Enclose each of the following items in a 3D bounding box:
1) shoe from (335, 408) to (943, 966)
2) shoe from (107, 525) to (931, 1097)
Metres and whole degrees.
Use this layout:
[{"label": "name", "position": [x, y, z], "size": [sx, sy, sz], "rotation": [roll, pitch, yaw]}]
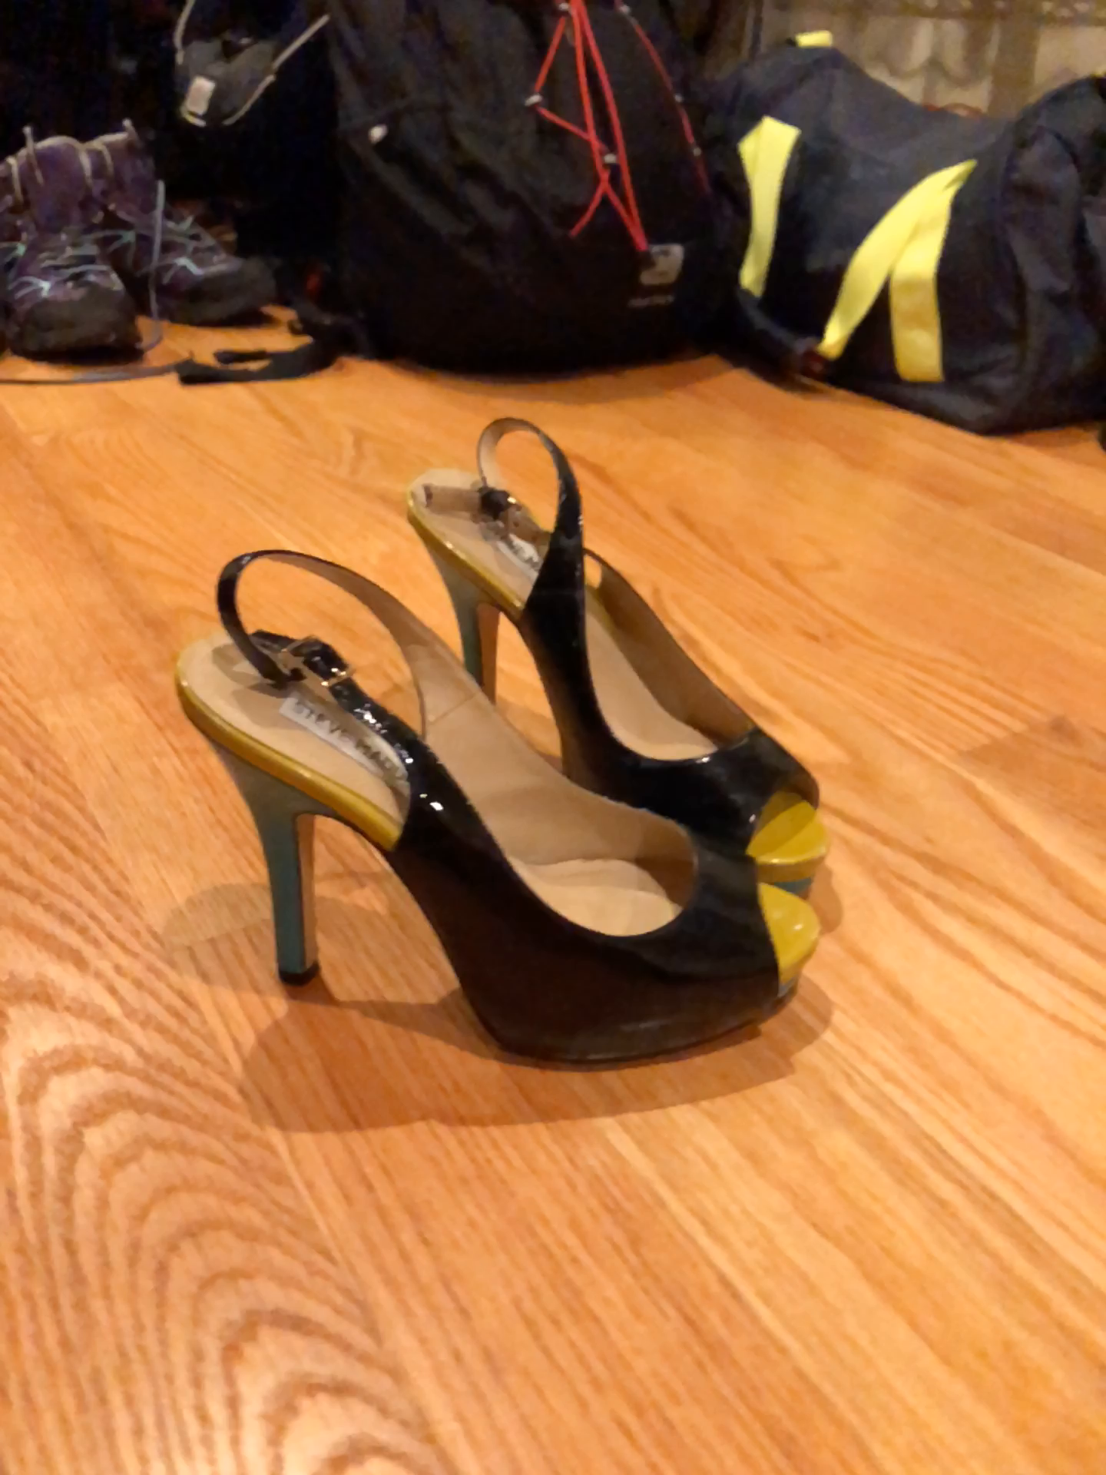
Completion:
[{"label": "shoe", "position": [0.019, -0.031, 0.457], "size": [0.204, 0.121, 0.085], "rotation": [28, 39, 35]}, {"label": "shoe", "position": [-0.010, 0.021, 0.368], "size": [0.201, 0.131, 0.085], "rotation": [4, 31, 2]}]
